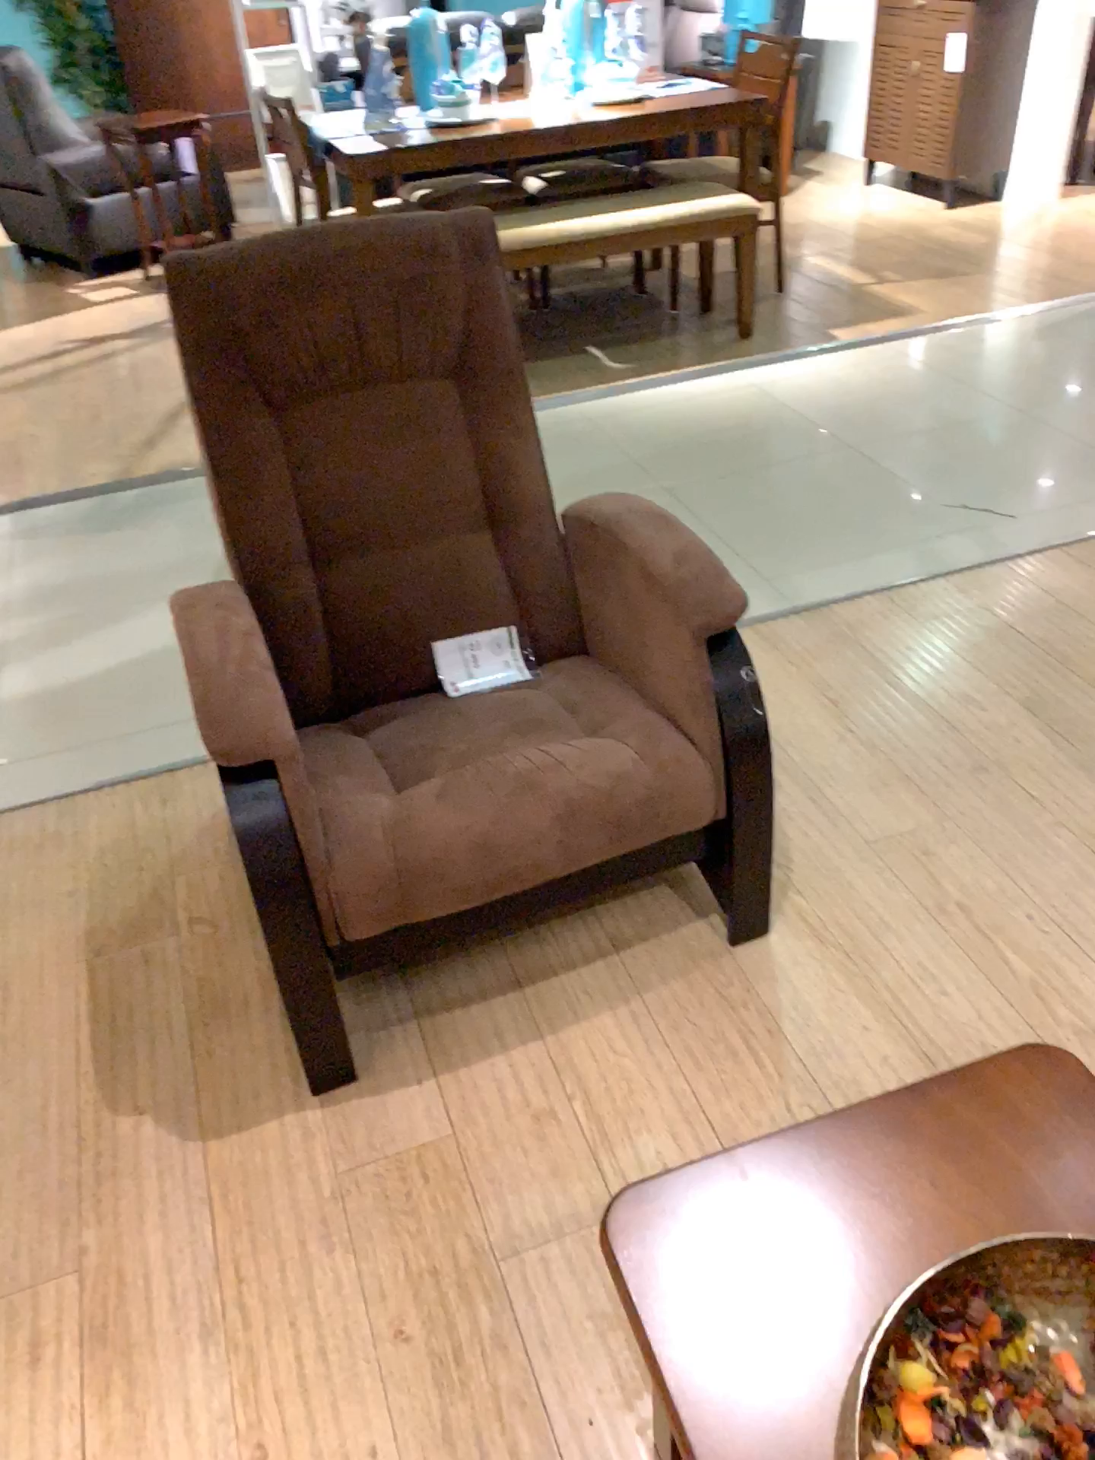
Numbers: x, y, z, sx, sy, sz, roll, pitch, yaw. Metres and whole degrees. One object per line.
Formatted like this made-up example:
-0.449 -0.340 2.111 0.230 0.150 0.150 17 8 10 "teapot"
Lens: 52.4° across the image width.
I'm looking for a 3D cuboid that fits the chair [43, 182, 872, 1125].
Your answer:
-0.189 -0.212 1.691 0.800 0.886 1.004 -16 38 -15 "chair"
